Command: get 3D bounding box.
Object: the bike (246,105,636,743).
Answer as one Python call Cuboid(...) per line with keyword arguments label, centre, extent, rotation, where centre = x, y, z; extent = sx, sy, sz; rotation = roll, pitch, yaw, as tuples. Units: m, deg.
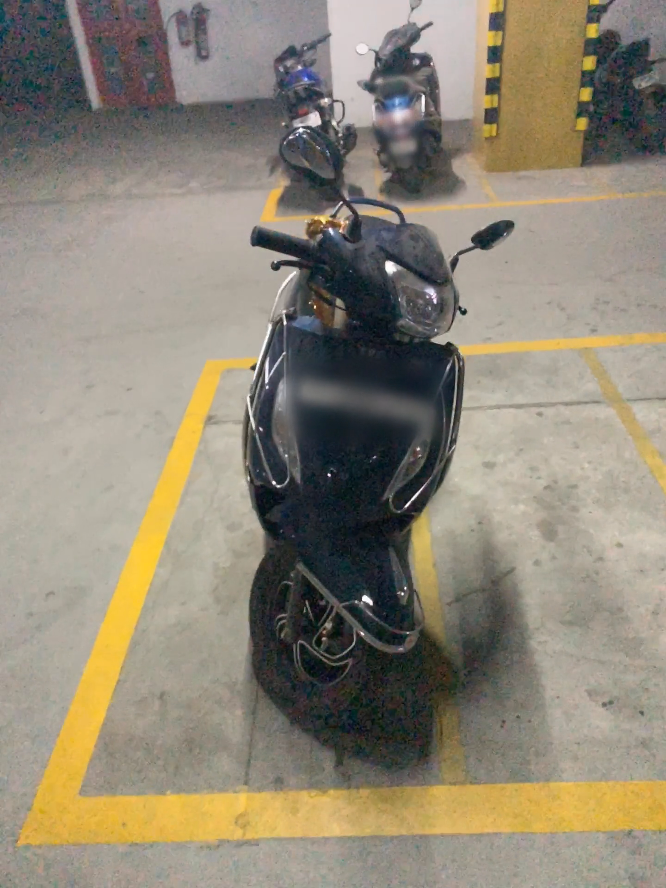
Cuboid(label="bike", centre=(0.165, -0.238, 2.102), extent=(0.664, 1.028, 1.703), rotation=(-5, 38, -1))
